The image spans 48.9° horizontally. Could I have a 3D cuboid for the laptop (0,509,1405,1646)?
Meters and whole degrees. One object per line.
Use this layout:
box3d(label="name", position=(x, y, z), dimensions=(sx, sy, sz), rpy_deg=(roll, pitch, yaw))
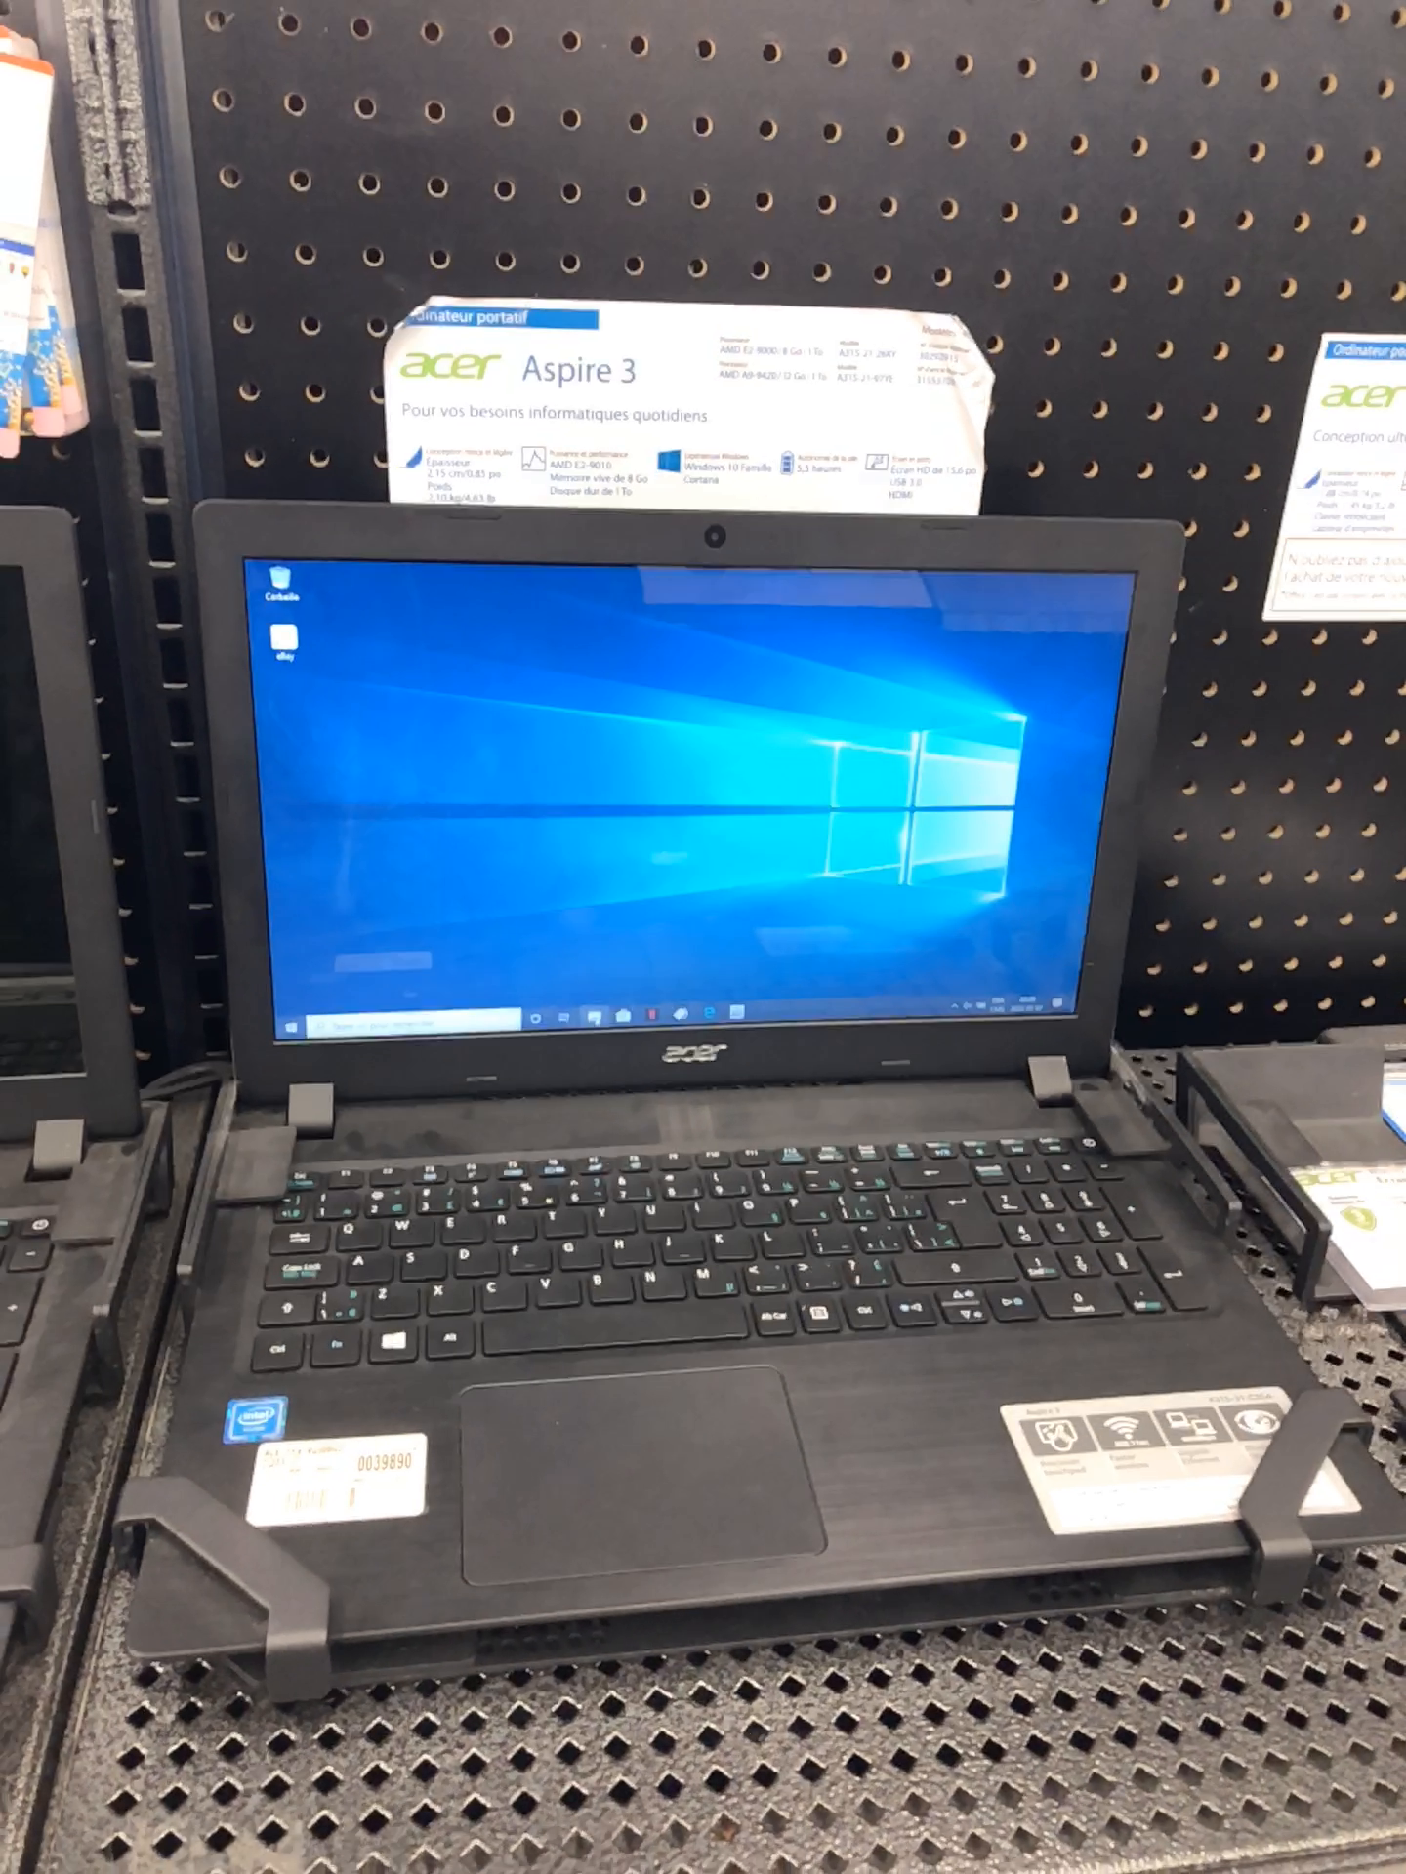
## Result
box3d(label="laptop", position=(0.016, 0.013, 0.533), dimensions=(0.386, 0.247, 0.296), rpy_deg=(-1, 27, -8))
